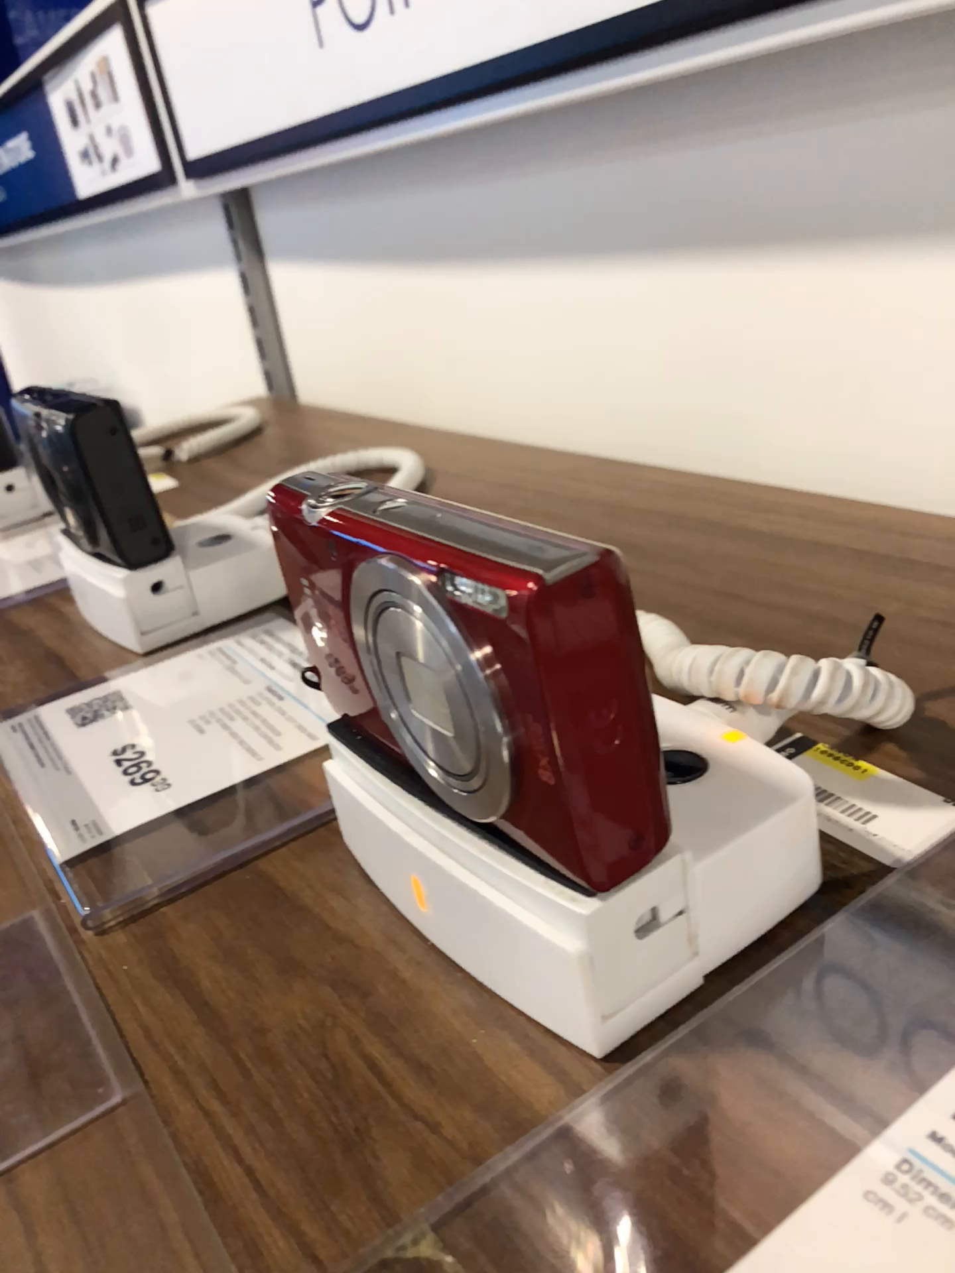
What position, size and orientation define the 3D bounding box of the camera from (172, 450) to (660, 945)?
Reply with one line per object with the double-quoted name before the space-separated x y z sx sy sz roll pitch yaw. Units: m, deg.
"camera" -0.016 0.001 0.181 0.030 0.050 0.100 -22 25 -26
